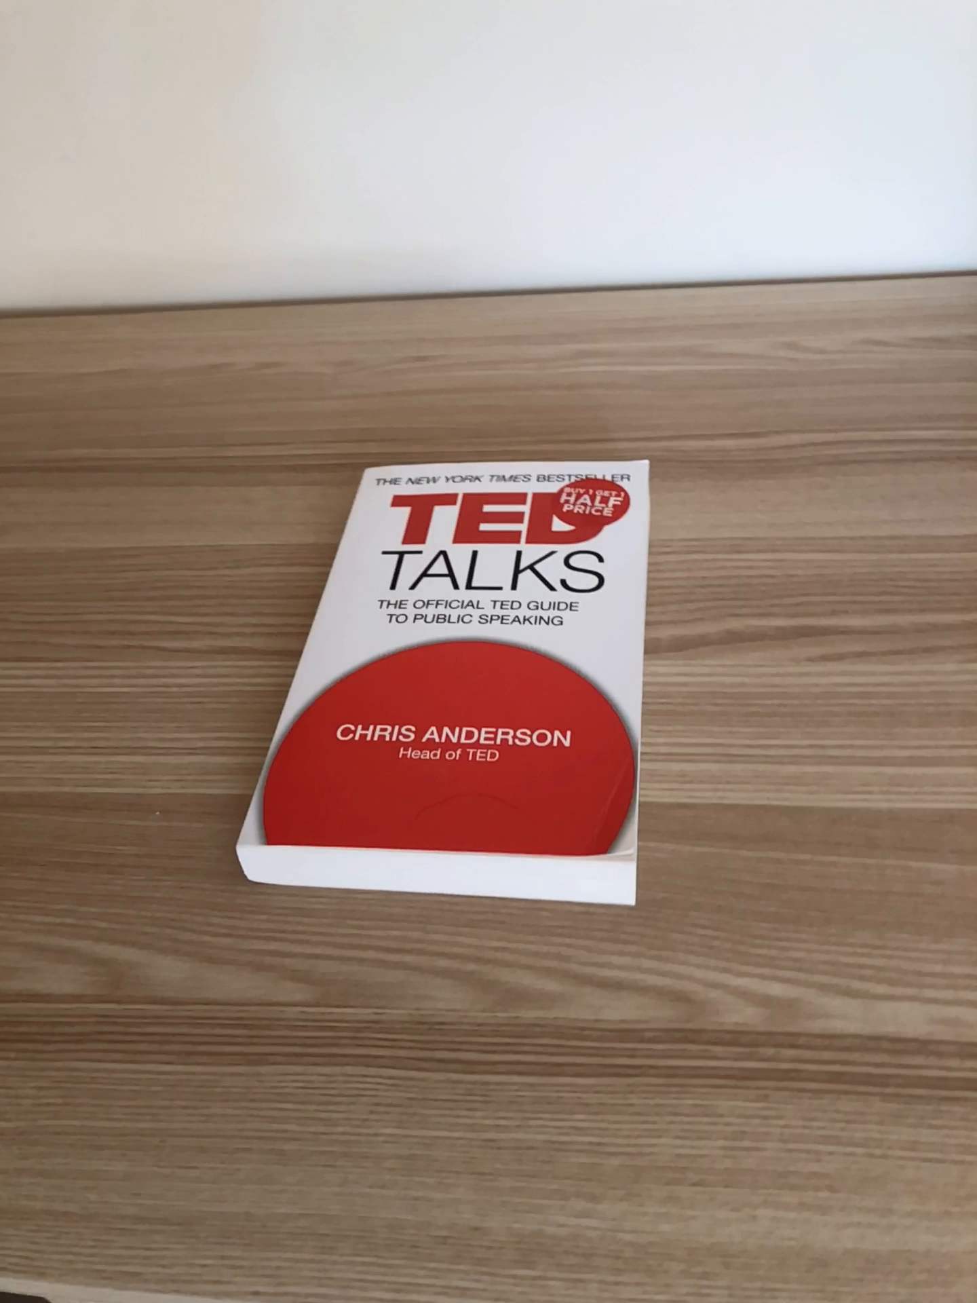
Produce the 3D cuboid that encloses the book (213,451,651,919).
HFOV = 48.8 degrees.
[{"bbox_3d":[-0.007,-0.003,0.430,0.138,0.030,0.221,1,46,9],"label":"book"}]
